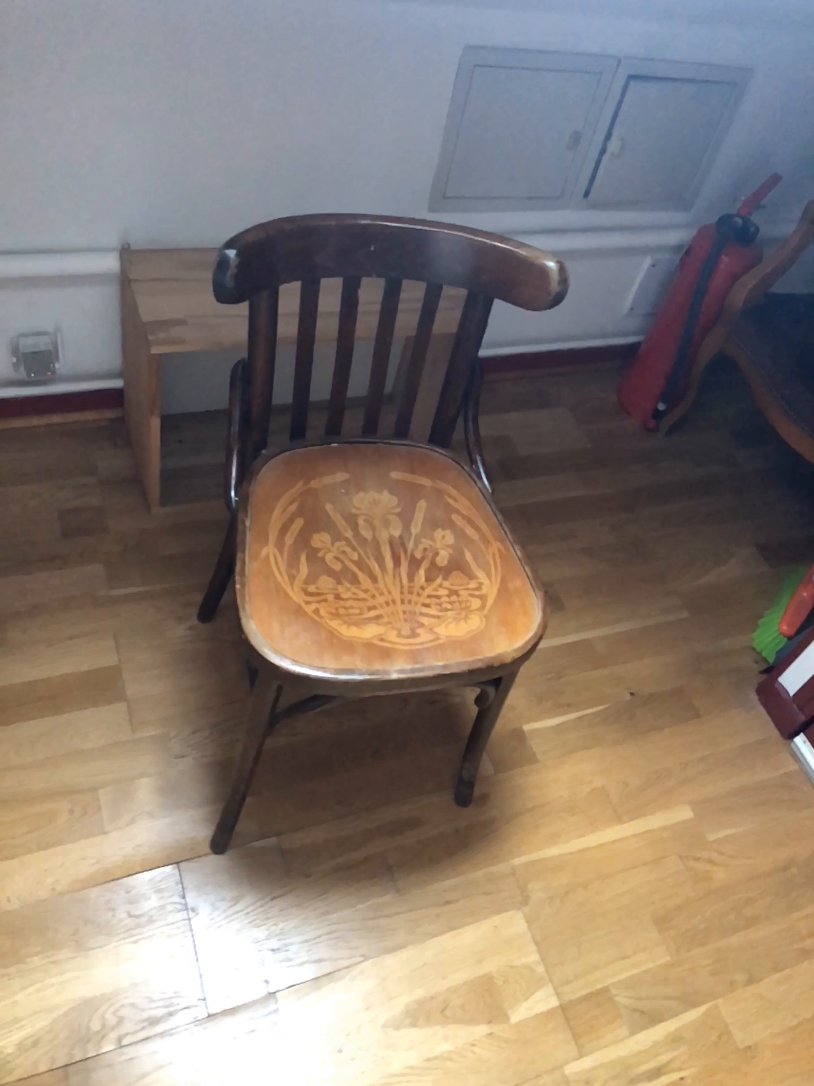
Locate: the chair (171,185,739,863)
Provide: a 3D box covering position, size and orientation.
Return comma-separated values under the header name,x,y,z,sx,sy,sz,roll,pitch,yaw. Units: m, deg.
name,x,y,z,sx,sy,sz,roll,pitch,yaw
chair,-0.040,0.016,1.123,0.443,0.737,0.413,-5,51,-20
